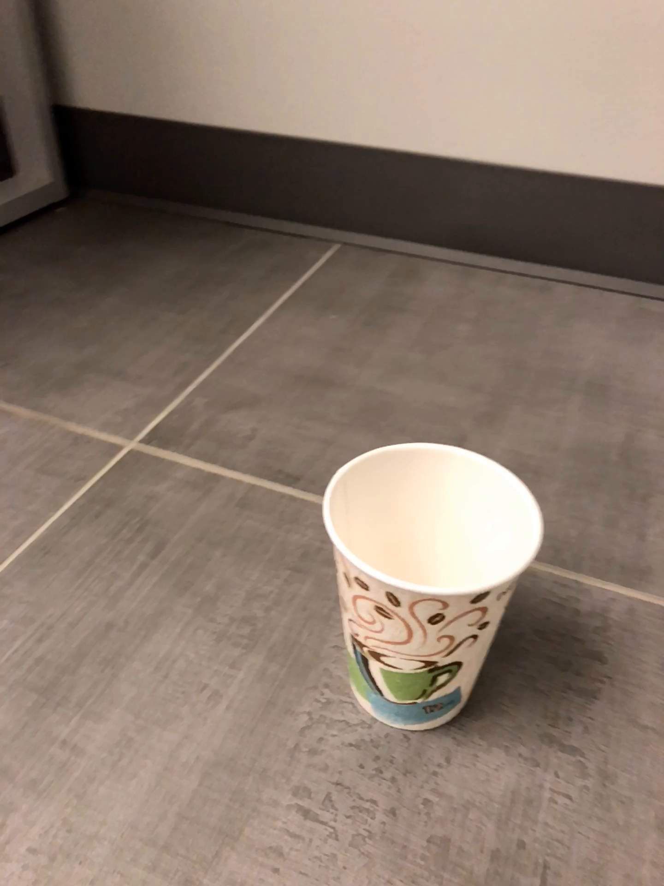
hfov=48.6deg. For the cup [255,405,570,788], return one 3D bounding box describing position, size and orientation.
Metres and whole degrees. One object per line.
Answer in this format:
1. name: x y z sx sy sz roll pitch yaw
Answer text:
1. cup: 0.035 0.062 0.328 0.090 0.099 0.100 23 42 26
